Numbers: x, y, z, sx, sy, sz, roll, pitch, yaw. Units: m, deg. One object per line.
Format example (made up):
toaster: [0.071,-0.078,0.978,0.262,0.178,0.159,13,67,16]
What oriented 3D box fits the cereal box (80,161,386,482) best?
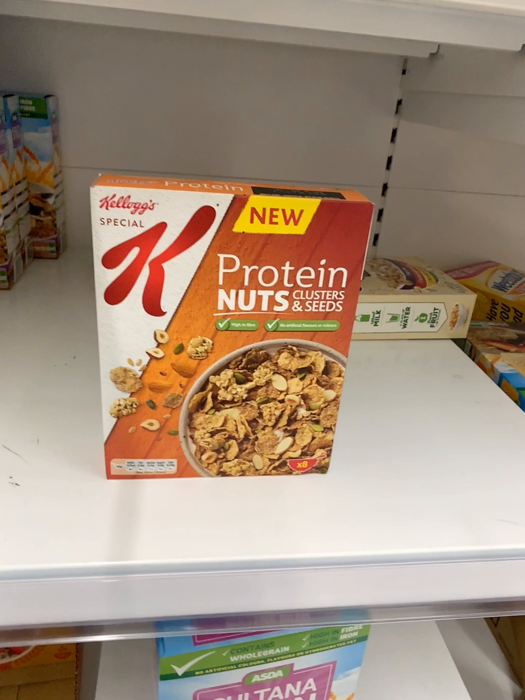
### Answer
cereal box: [-0.029,-0.015,0.435,0.200,0.238,0.071,1,26,-9]
